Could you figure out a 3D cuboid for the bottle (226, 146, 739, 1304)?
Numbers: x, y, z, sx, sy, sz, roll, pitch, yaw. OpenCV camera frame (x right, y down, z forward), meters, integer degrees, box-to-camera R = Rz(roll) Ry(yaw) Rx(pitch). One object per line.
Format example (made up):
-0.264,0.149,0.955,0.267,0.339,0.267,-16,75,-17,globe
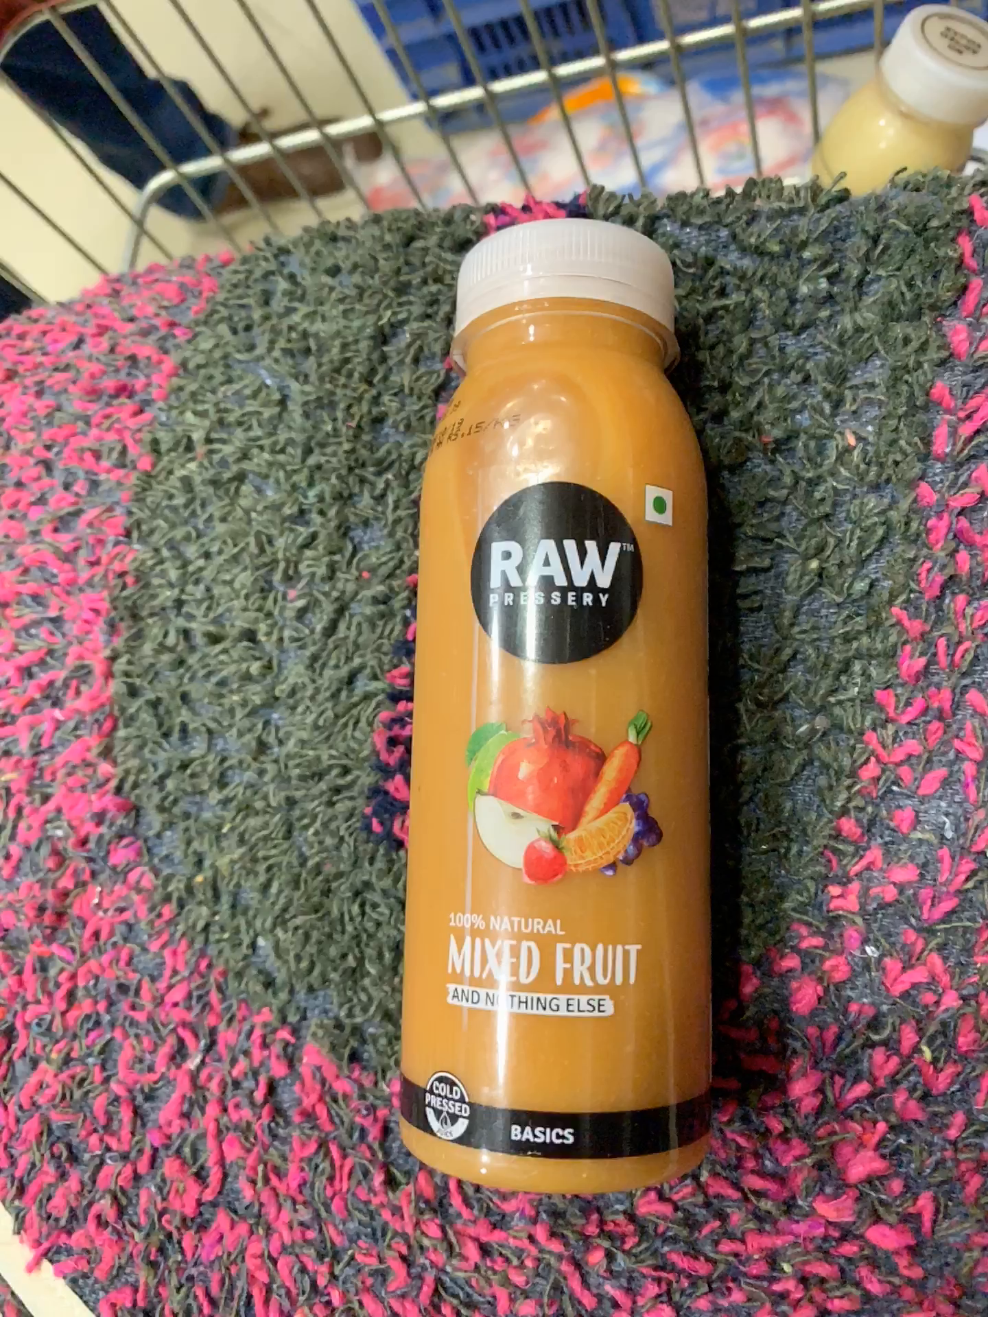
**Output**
0.002,0.006,0.165,0.060,0.060,0.150,2,81,2,bottle
